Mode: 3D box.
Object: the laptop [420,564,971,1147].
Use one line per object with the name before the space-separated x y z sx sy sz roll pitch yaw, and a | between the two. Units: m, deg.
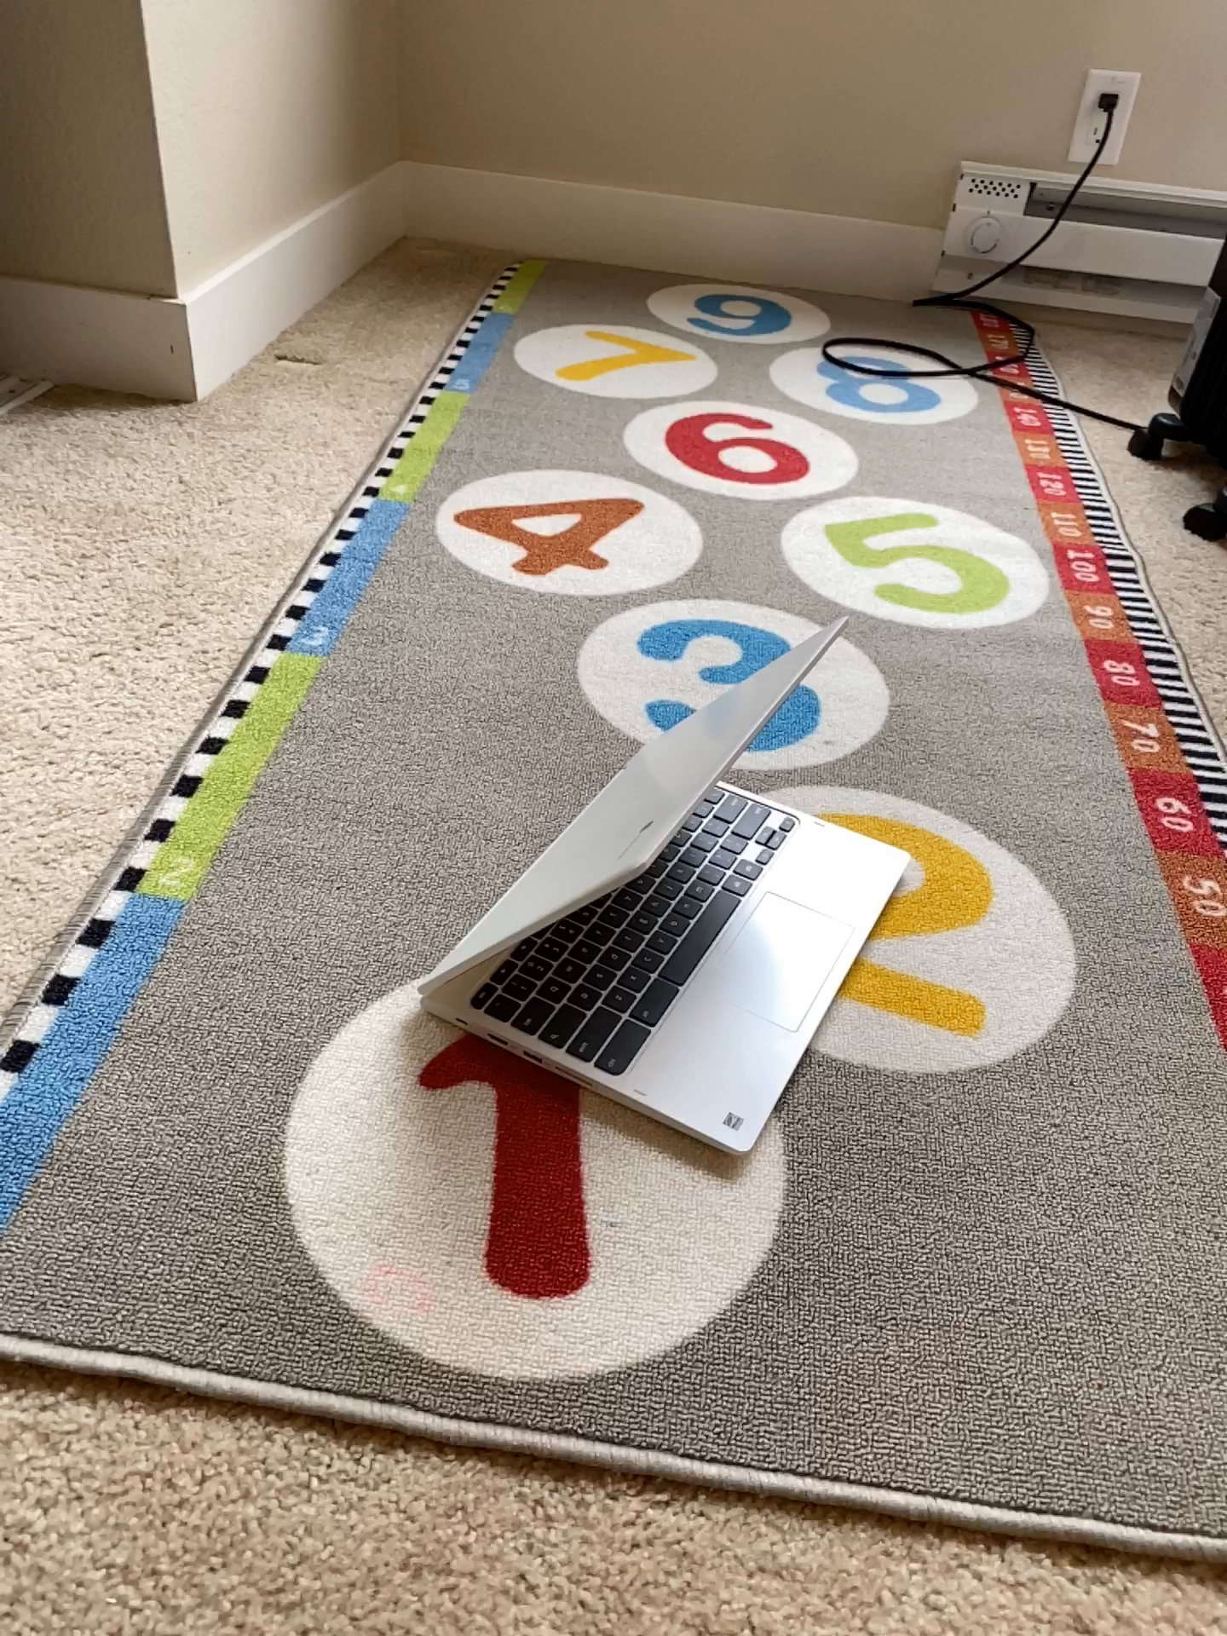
laptop | 0.056 0.001 0.764 0.217 0.164 0.295 20 40 19
